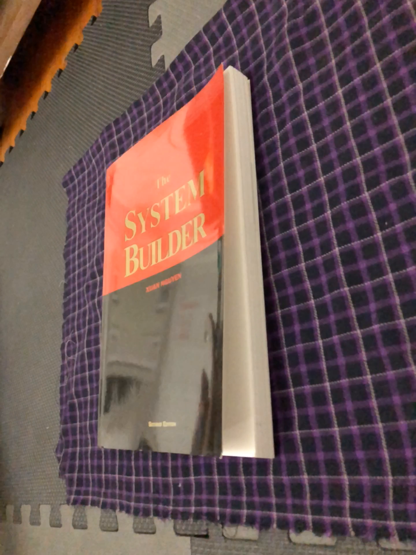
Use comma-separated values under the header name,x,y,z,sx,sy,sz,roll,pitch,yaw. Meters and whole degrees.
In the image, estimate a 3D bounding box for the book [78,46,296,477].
name,x,y,z,sx,sy,sz,roll,pitch,yaw
book,-0.032,-0.001,0.345,0.201,0.030,0.260,-21,65,47
